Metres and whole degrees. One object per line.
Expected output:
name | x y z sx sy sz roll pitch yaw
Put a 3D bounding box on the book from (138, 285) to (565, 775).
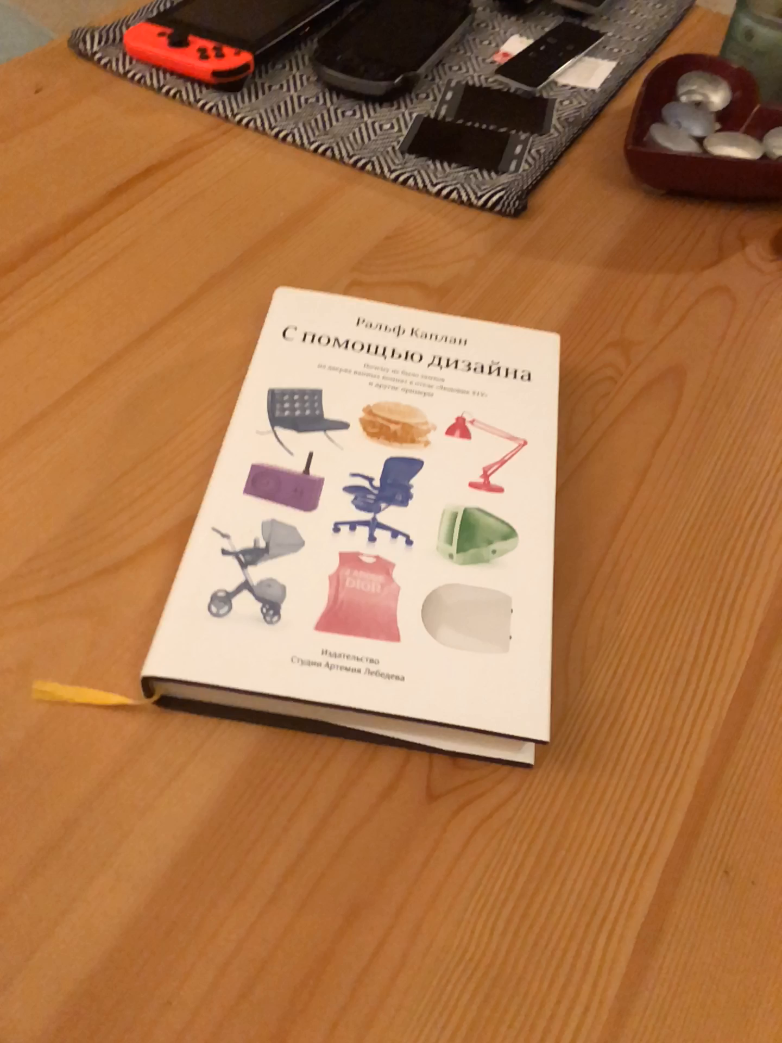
book | -0.002 -0.012 0.395 0.152 0.034 0.227 10 53 1
